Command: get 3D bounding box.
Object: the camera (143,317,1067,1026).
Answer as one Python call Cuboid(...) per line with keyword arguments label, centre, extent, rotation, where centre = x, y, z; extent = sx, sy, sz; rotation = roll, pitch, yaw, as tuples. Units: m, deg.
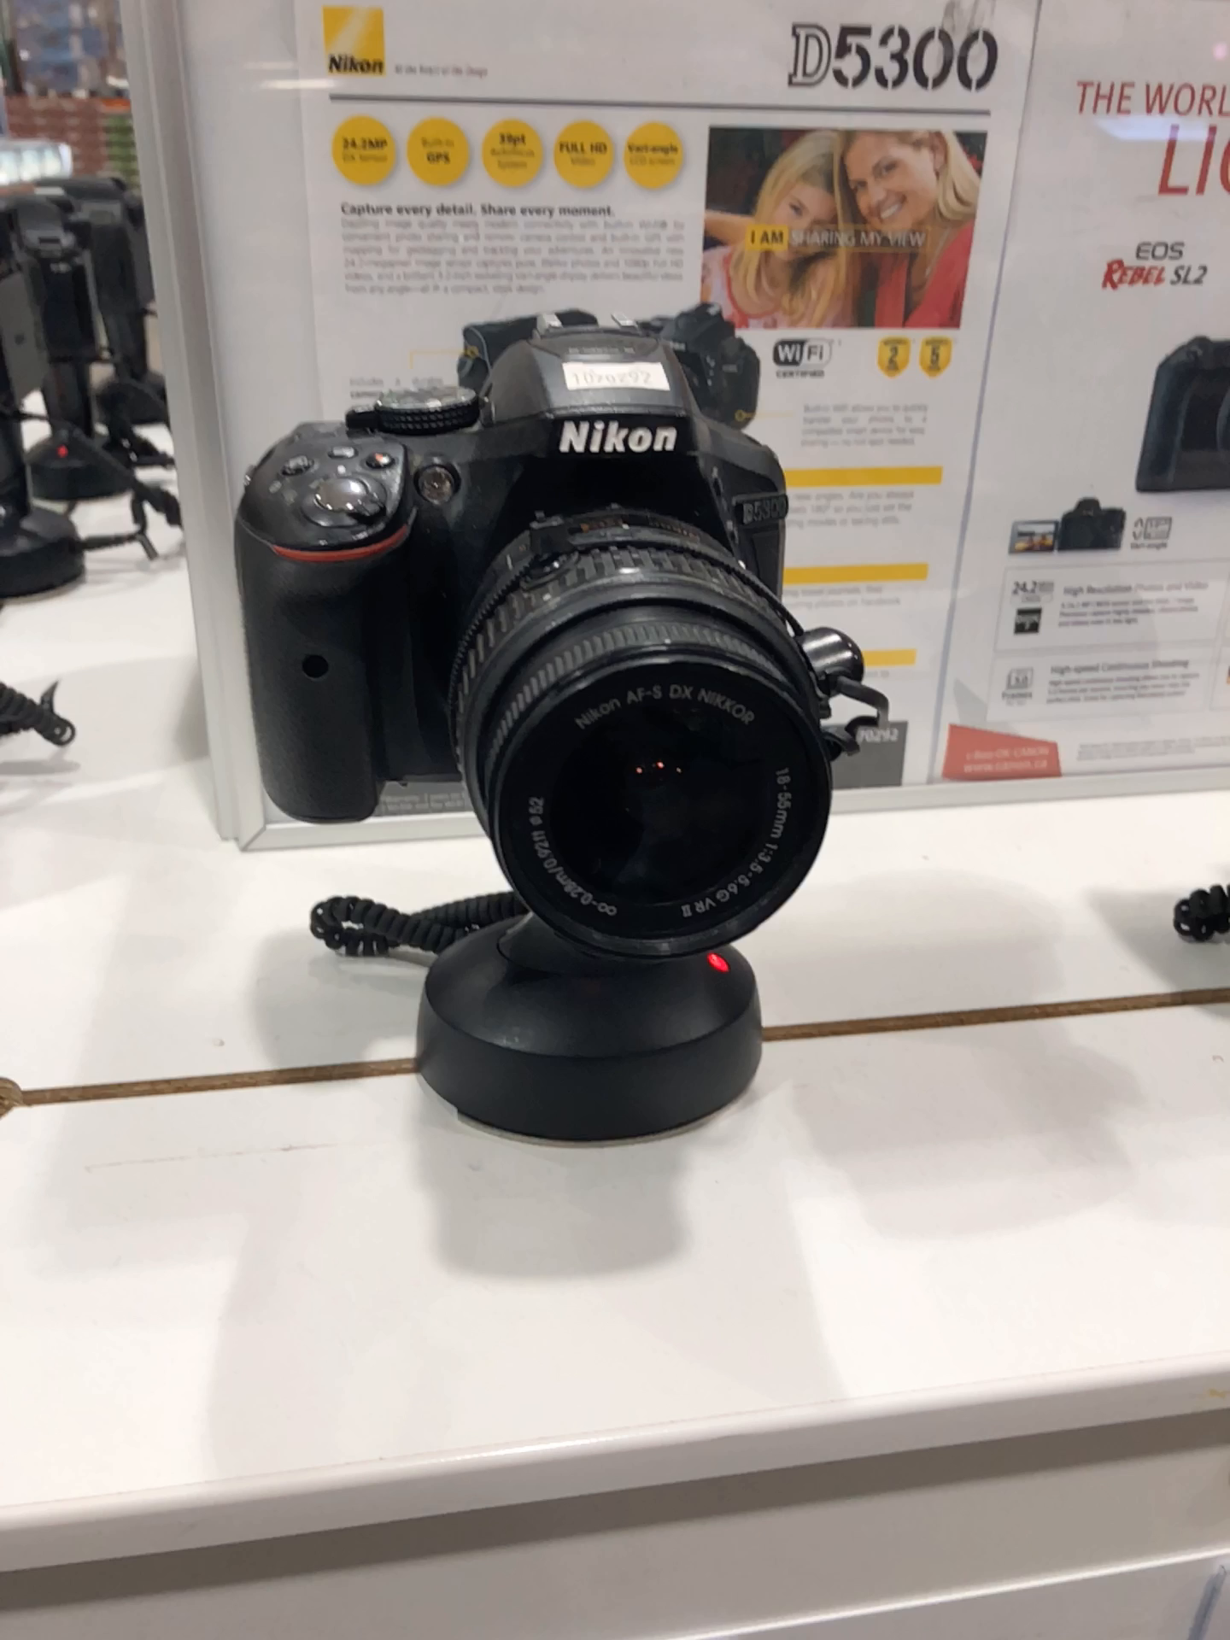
Cuboid(label="camera", centre=(-0.012, -0.043, 0.270), extent=(0.130, 0.090, 0.141), rotation=(-4, 27, -11))
